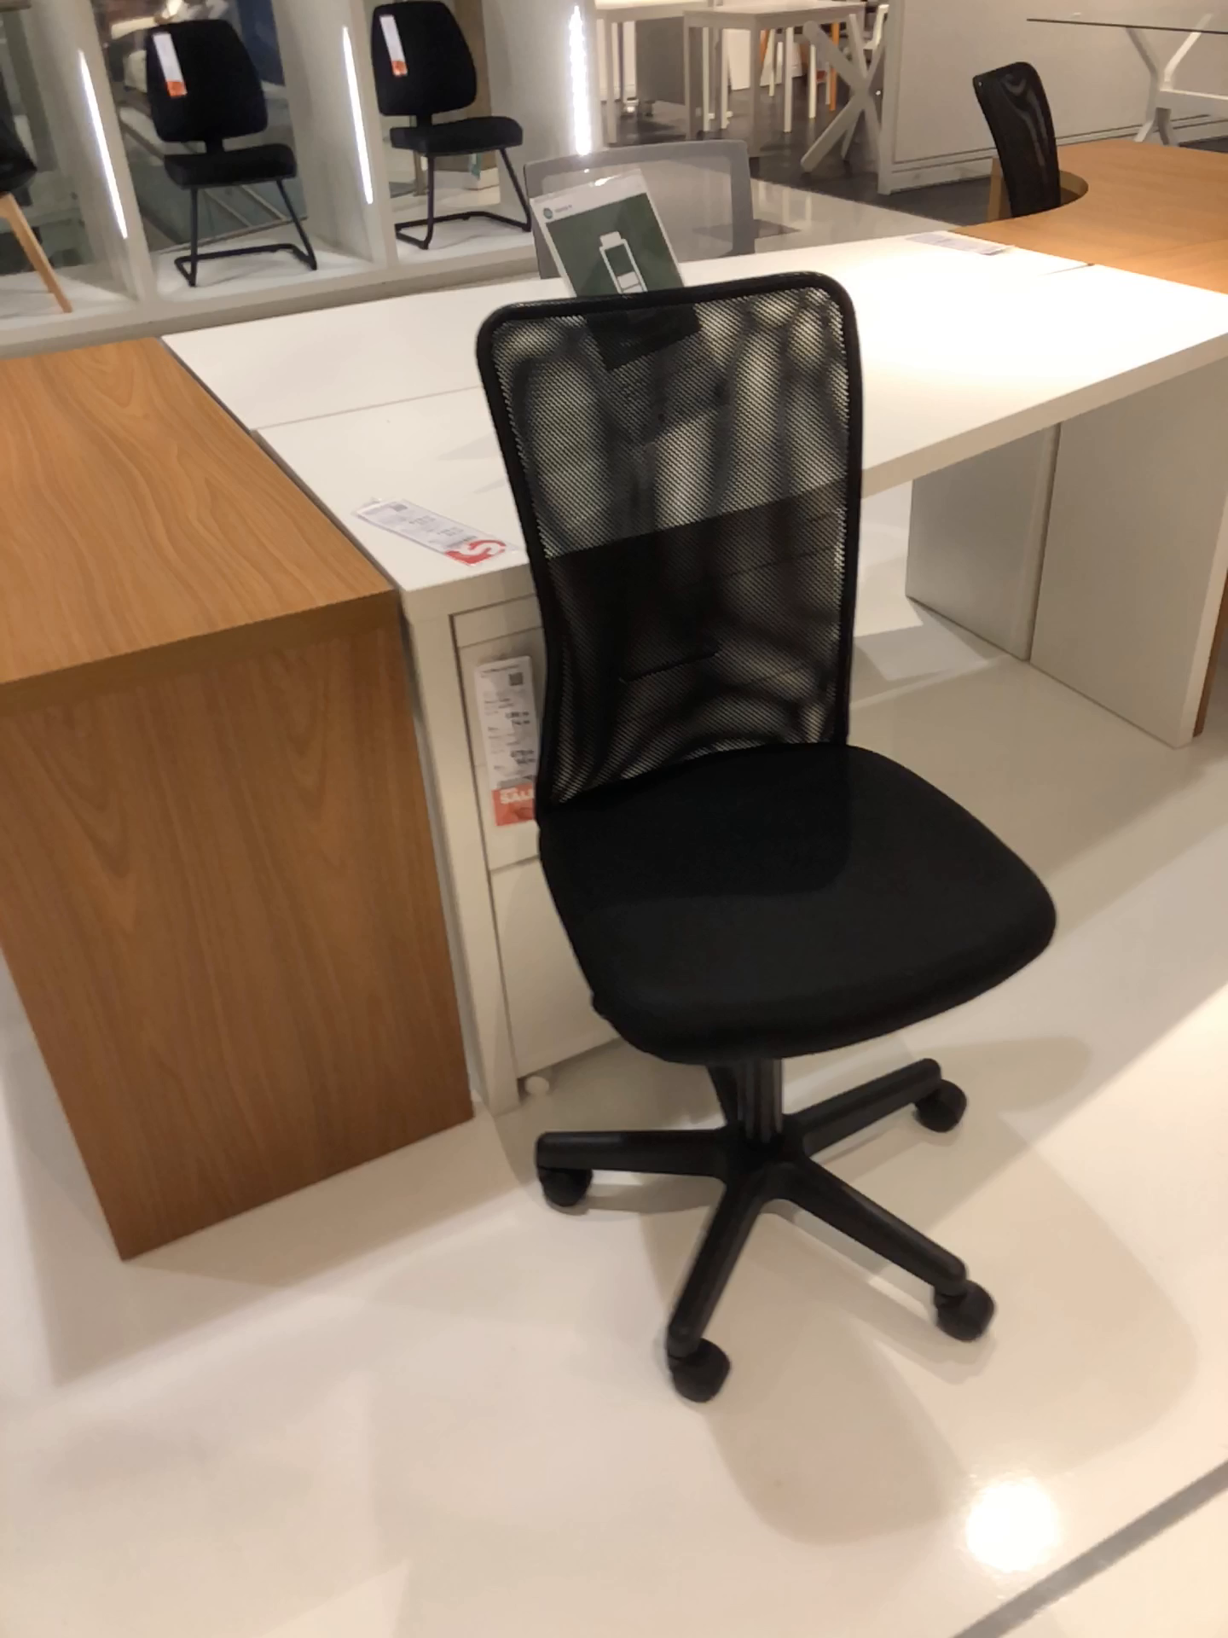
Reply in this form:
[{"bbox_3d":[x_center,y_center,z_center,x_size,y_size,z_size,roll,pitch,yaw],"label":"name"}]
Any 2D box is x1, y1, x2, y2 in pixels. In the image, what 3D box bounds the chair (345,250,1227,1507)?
[{"bbox_3d":[0.142,0.036,1.273,0.561,0.923,0.574,-13,34,-13],"label":"chair"}]
